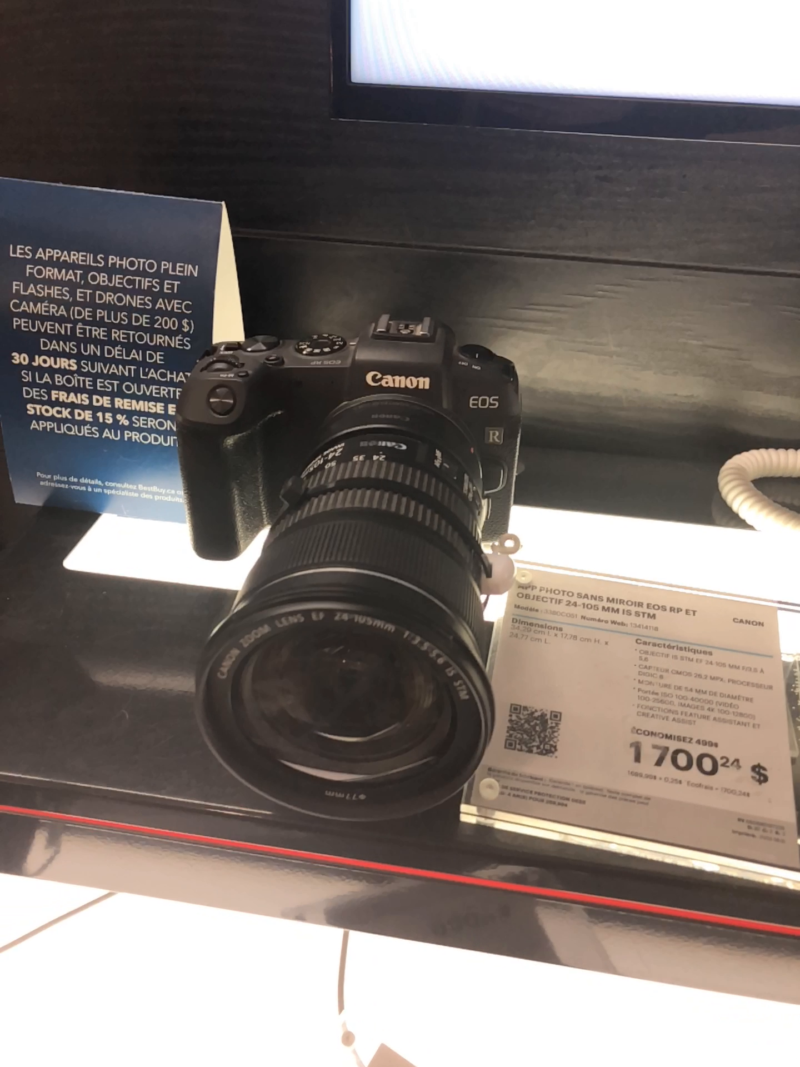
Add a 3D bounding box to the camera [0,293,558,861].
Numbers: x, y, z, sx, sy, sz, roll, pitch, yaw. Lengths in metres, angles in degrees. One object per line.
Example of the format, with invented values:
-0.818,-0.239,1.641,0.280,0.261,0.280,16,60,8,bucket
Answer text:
-0.021,-0.003,0.299,0.128,0.099,0.178,5,31,4,camera
